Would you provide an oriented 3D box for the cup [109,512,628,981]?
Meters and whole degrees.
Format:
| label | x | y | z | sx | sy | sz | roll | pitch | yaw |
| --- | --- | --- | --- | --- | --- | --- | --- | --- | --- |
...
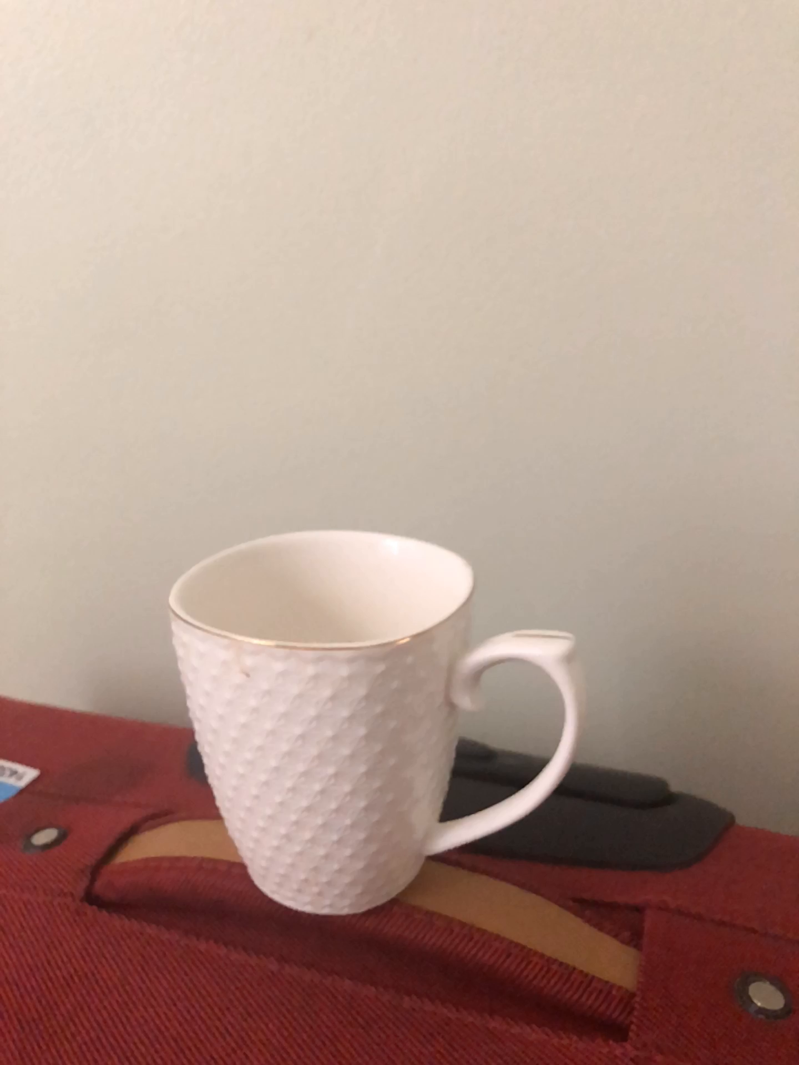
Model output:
| label | x | y | z | sx | sy | sz | roll | pitch | yaw |
| --- | --- | --- | --- | --- | --- | --- | --- | --- | --- |
| cup | 0.000 | 0.048 | 0.236 | 0.111 | 0.084 | 0.075 | 1 | 21 | 12 |
